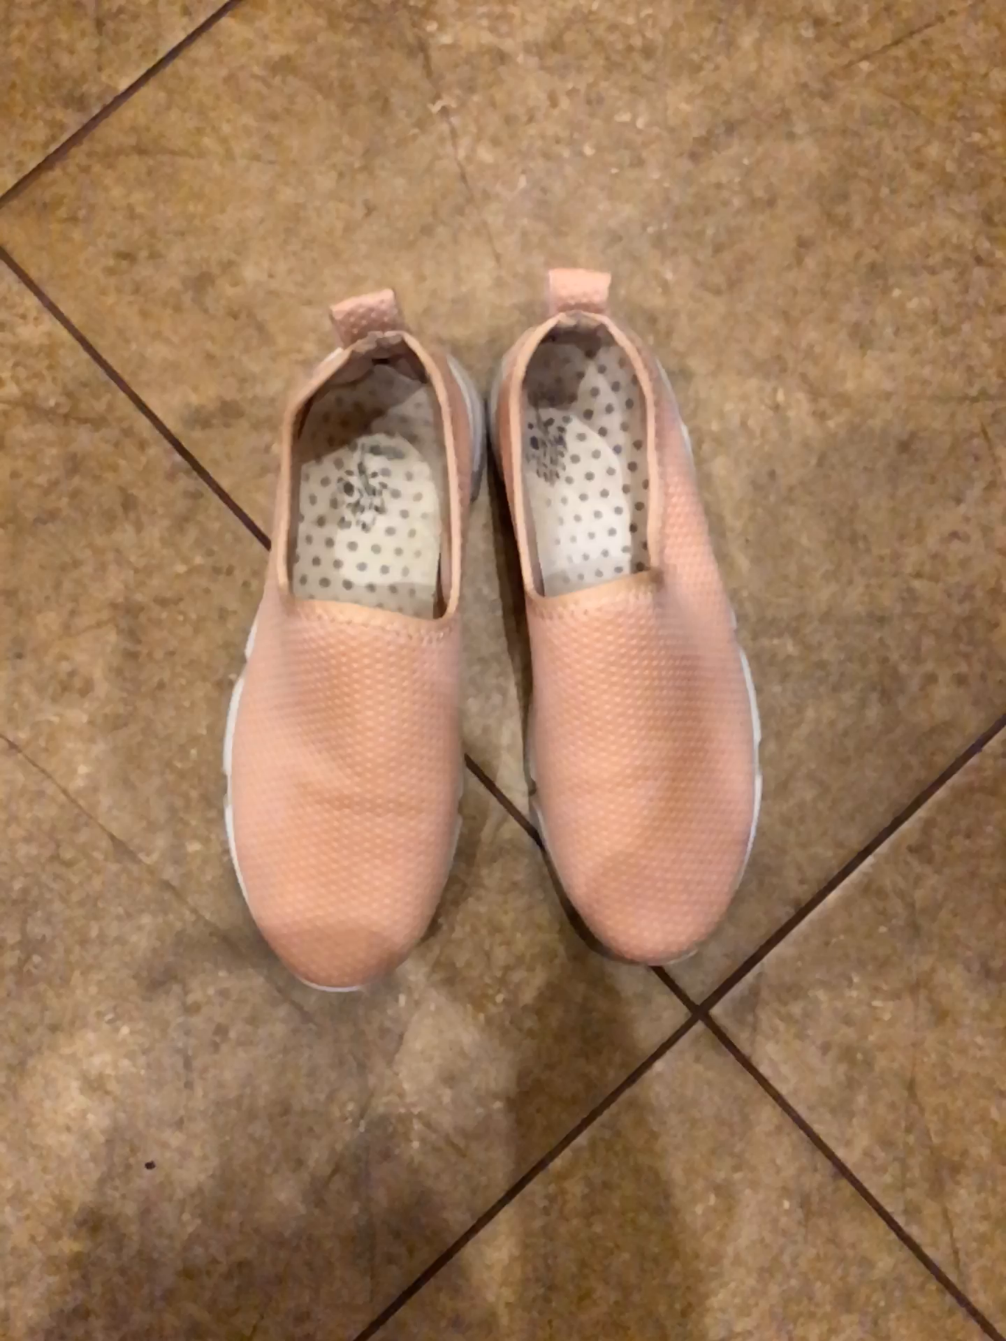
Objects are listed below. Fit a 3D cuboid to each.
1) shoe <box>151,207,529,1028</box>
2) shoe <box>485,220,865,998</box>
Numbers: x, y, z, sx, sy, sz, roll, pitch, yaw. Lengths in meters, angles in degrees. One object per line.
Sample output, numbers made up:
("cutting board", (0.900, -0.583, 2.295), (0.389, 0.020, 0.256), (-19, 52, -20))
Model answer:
("shoe", (-0.048, -0.015, 0.394), (0.090, 0.120, 0.240), (5, 86, -1))
("shoe", (0.050, -0.019, 0.389), (0.090, 0.100, 0.230), (-6, 86, -2))
